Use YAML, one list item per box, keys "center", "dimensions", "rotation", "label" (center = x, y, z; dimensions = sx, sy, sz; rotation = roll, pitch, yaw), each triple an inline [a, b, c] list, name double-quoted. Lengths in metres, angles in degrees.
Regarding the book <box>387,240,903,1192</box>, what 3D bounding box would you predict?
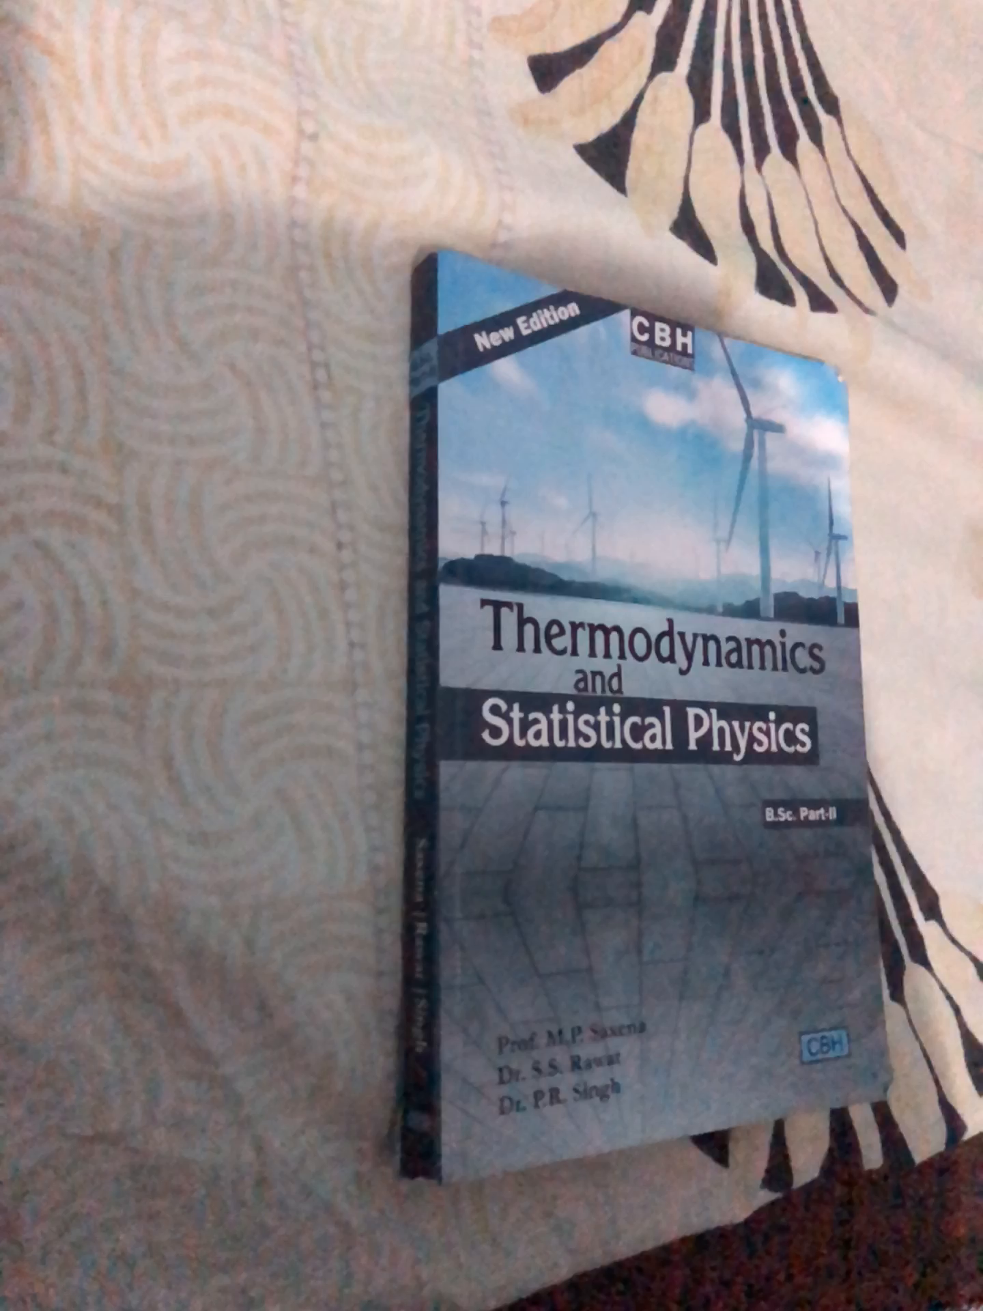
- center: [0.055, 0.017, 0.333]
  dimensions: [0.171, 0.030, 0.240]
  rotation: [4, 85, -31]
  label: "book"
